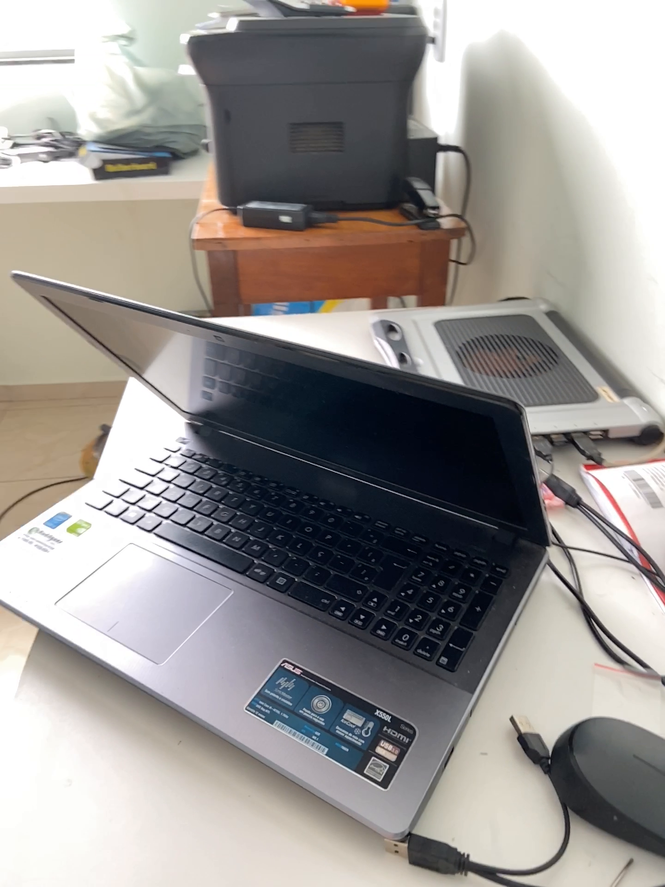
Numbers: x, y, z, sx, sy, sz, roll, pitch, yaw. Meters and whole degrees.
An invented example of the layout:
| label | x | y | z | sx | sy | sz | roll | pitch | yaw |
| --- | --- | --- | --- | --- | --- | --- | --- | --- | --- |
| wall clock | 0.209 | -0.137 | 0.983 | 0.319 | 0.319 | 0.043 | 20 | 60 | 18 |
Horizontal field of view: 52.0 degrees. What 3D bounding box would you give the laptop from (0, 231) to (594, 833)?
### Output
| label | x | y | z | sx | sy | sz | roll | pitch | yaw |
| --- | --- | --- | --- | --- | --- | --- | --- | --- | --- |
| laptop | -0.060 | 0.007 | 0.461 | 0.365 | 0.190 | 0.246 | 18 | 37 | 27 |
